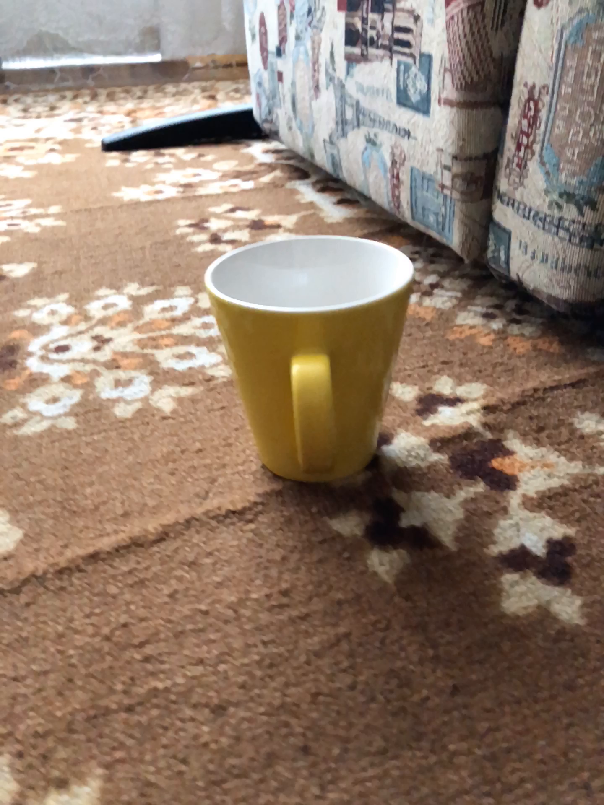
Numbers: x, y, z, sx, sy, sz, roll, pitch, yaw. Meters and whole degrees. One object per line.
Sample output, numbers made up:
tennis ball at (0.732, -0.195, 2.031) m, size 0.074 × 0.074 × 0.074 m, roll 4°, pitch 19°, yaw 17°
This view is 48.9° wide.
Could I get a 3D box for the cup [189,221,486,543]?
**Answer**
cup at (0.007, -0.019, 0.308) m, size 0.097 × 0.088 × 0.125 m, roll -8°, pitch 31°, yaw -10°
